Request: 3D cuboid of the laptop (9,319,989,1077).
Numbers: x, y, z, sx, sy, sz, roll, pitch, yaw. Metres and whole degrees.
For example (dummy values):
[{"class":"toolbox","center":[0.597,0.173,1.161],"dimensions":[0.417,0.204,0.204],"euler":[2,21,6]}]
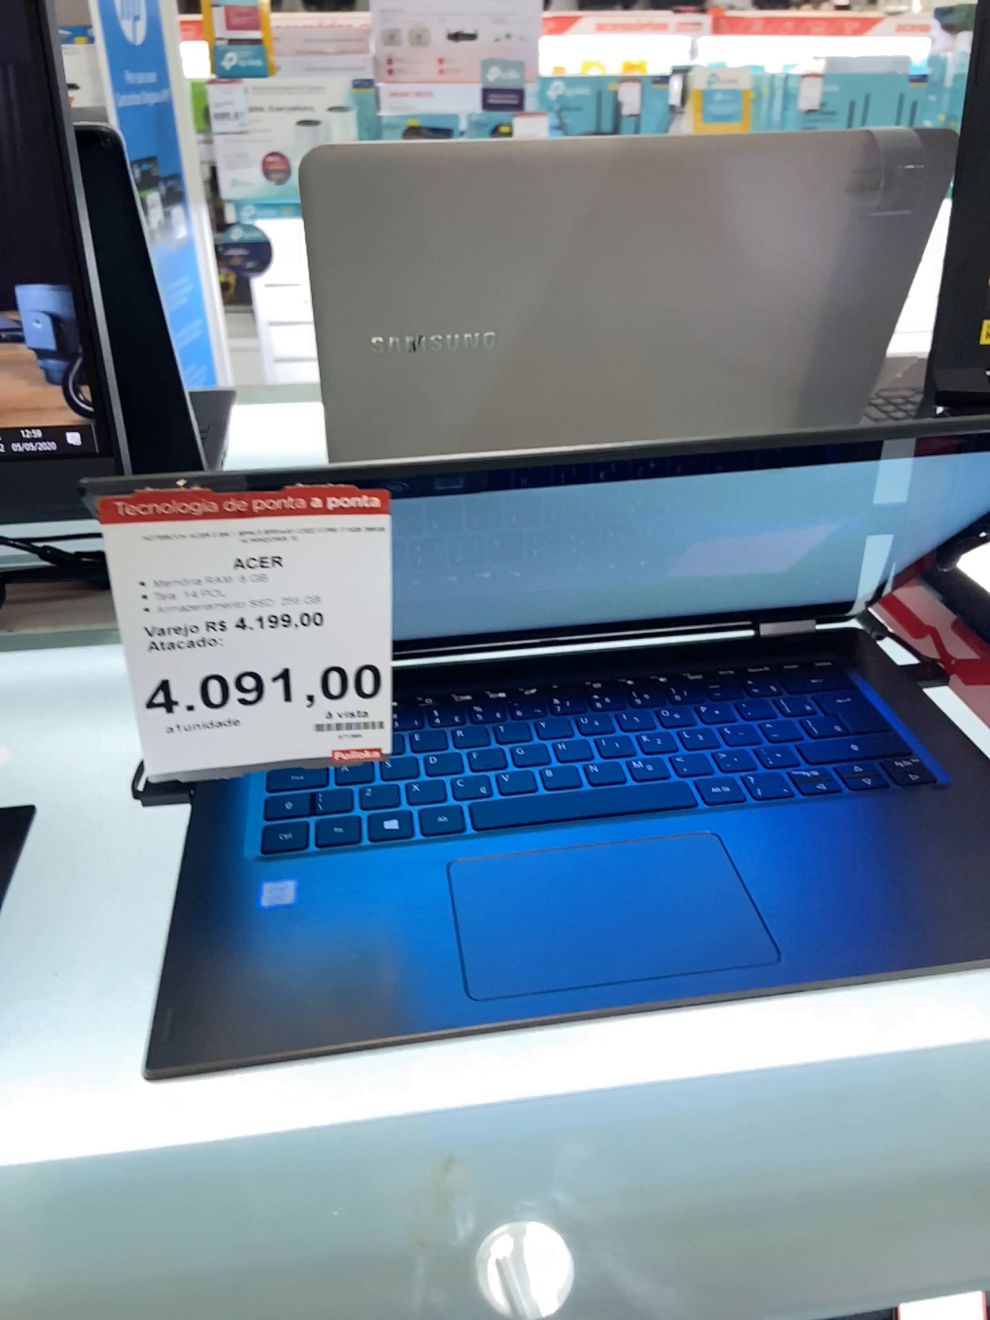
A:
[{"class":"laptop","center":[0.041,-0.015,0.375],"dimensions":[0.328,0.154,0.220],"euler":[-5,31,-7]}]
